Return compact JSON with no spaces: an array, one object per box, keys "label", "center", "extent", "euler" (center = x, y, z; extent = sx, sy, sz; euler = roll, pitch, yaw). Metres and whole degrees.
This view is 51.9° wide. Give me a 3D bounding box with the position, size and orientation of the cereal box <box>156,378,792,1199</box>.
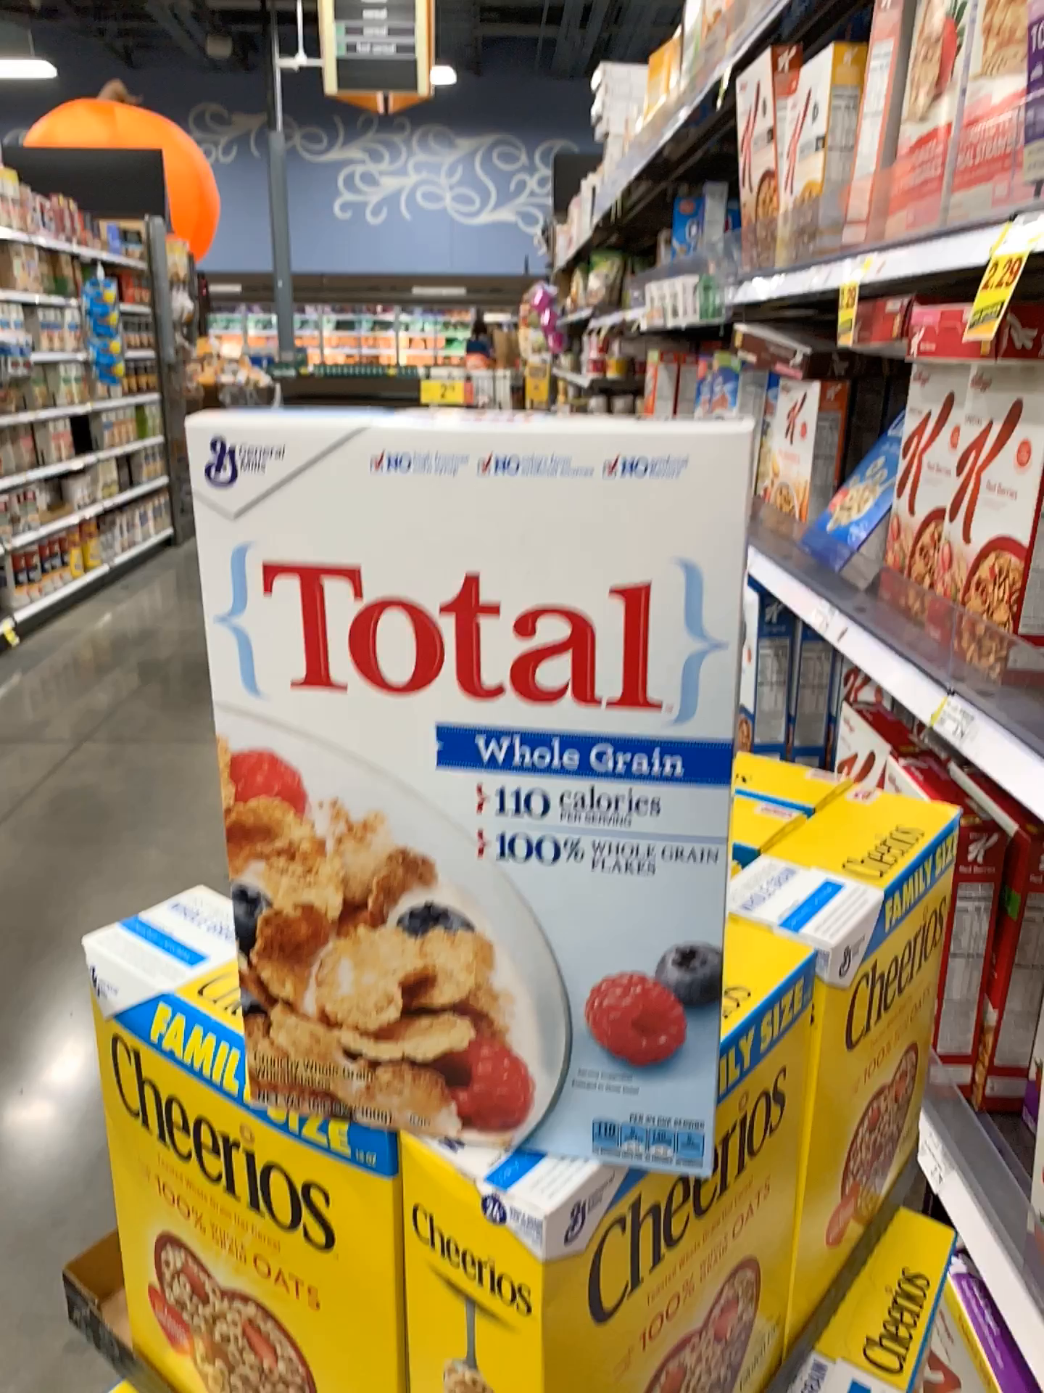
[{"label":"cereal box","center":[-0.014,0.036,0.410],"extent":[0.210,0.299,0.050],"euler":[3,18,13]}]
